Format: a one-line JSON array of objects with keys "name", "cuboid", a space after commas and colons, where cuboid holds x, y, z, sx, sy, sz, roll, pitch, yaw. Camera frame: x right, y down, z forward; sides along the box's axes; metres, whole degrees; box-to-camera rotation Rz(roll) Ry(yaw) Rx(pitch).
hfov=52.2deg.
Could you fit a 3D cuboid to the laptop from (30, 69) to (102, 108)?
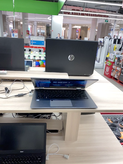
[{"name": "laptop", "cuboid": [0.009, 0.024, 0.675, 0.320, 0.128, 0.218, 2, 20, -7]}]
